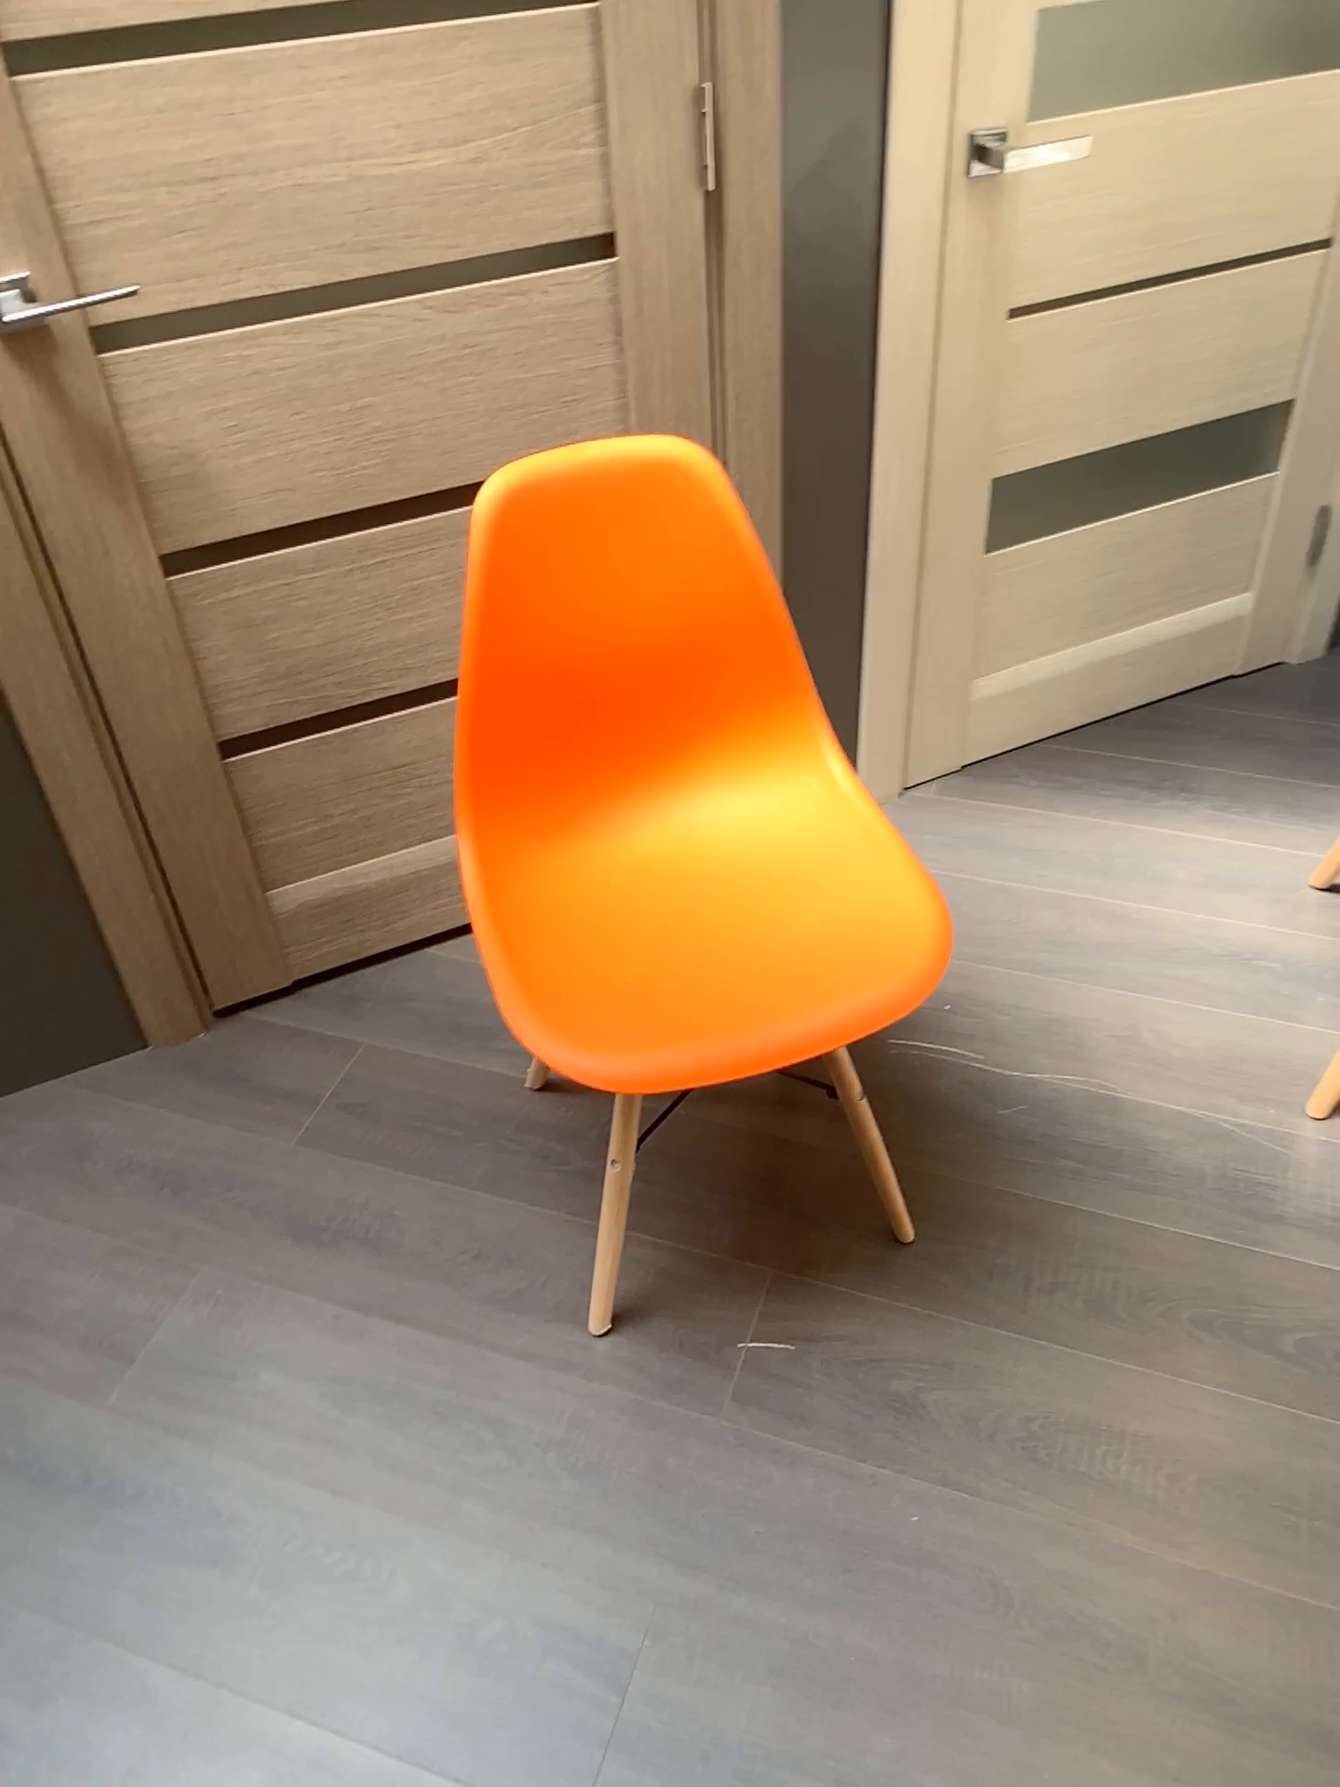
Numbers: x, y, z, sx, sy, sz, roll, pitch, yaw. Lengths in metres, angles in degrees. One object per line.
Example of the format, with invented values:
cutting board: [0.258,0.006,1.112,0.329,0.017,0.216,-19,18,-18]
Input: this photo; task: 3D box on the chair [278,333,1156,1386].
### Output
chair: [0.014,-0.044,1.285,0.530,0.716,0.523,-15,40,-13]
